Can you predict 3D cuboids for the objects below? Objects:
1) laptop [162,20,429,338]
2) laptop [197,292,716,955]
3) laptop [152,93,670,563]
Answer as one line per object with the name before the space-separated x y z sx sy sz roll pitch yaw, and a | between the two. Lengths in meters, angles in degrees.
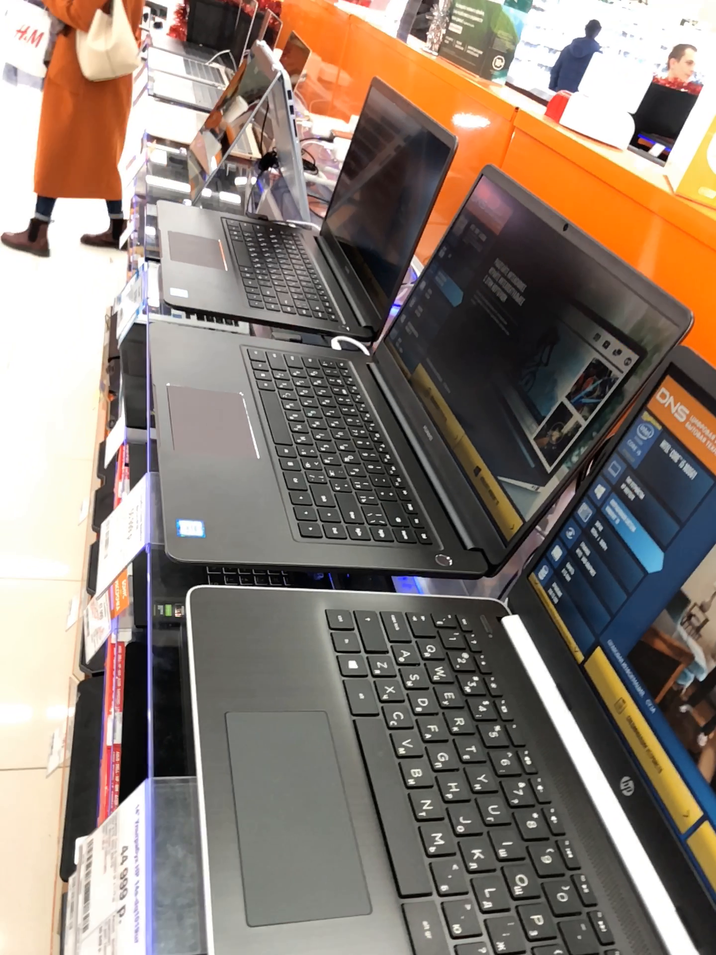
laptop | -0.098 -0.364 0.948 0.241 0.230 0.357 6 33 -21
laptop | 0.069 0.071 0.350 0.243 0.195 0.270 7 29 -16
laptop | -0.002 -0.129 0.636 0.287 0.212 0.340 4 34 -20
